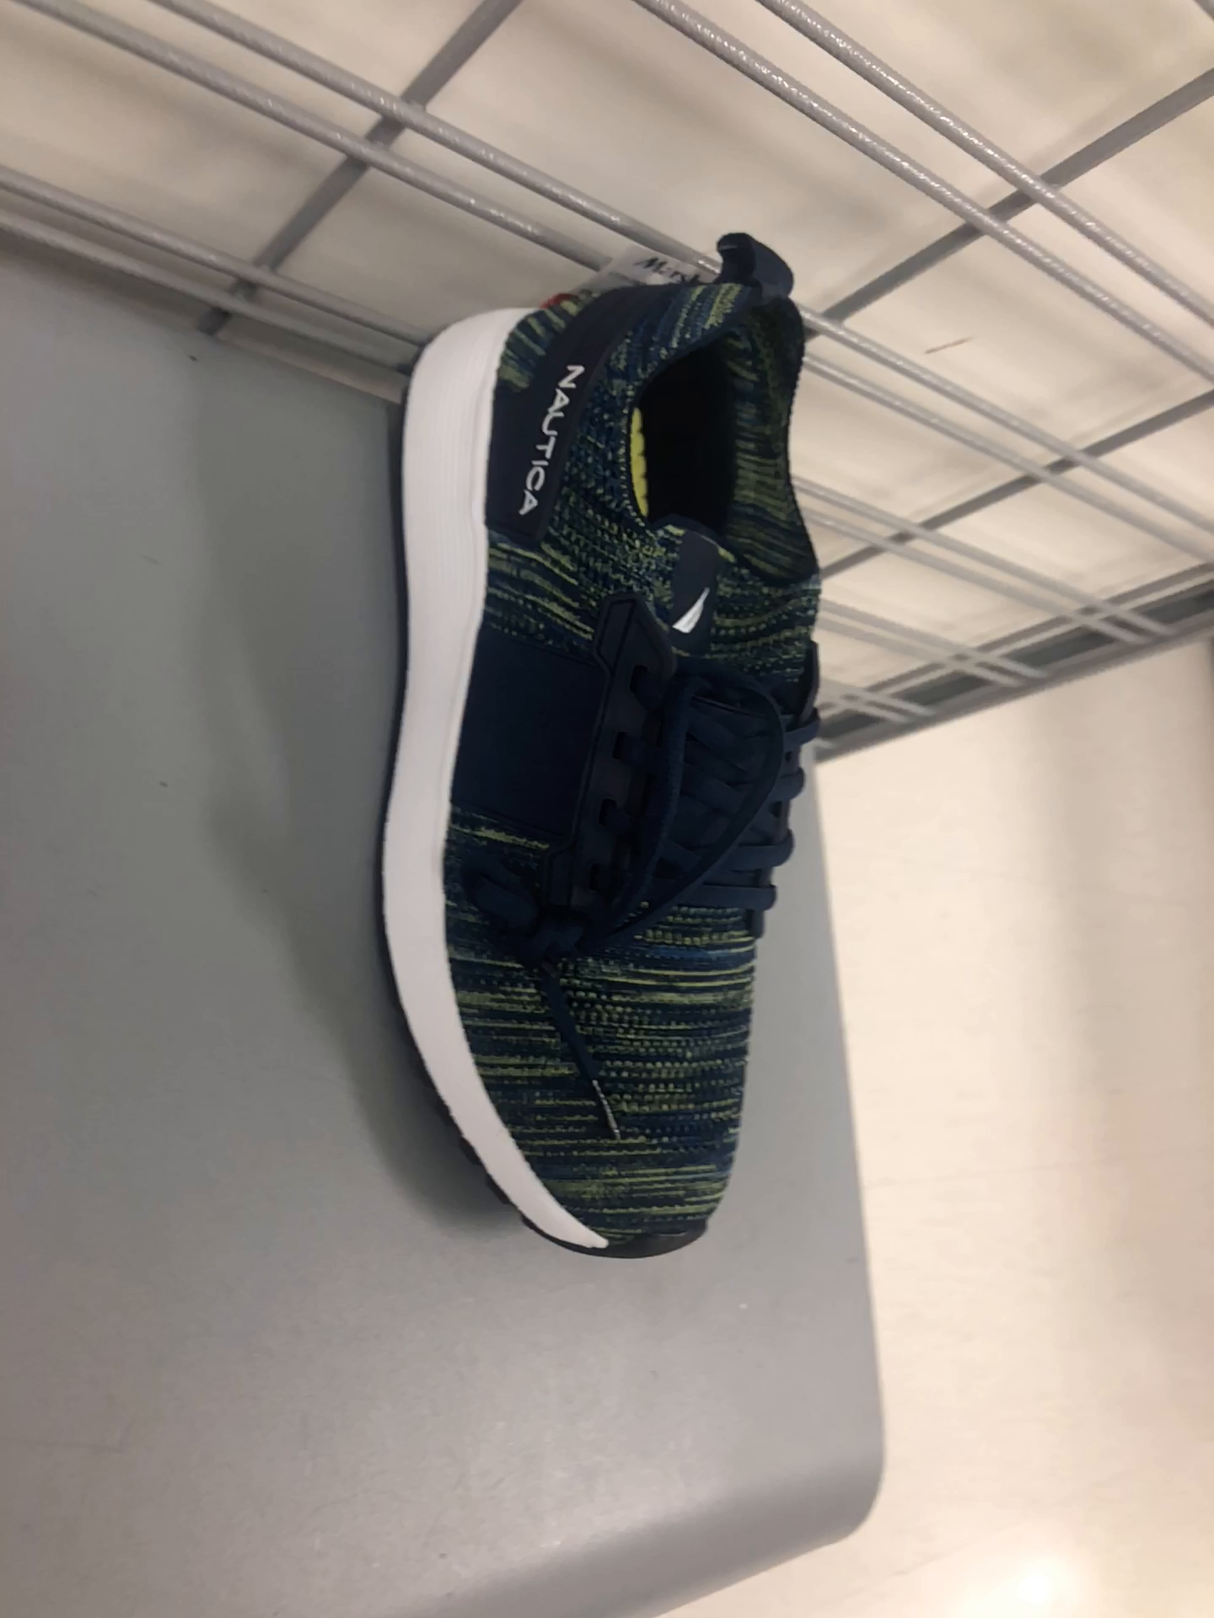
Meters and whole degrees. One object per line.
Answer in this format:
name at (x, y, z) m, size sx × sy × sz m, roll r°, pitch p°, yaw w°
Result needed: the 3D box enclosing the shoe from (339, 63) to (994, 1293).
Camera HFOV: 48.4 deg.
shoe at (0.009, -0.025, 0.364) m, size 0.114 × 0.104 × 0.276 m, roll 7°, pitch 73°, yaw -42°
